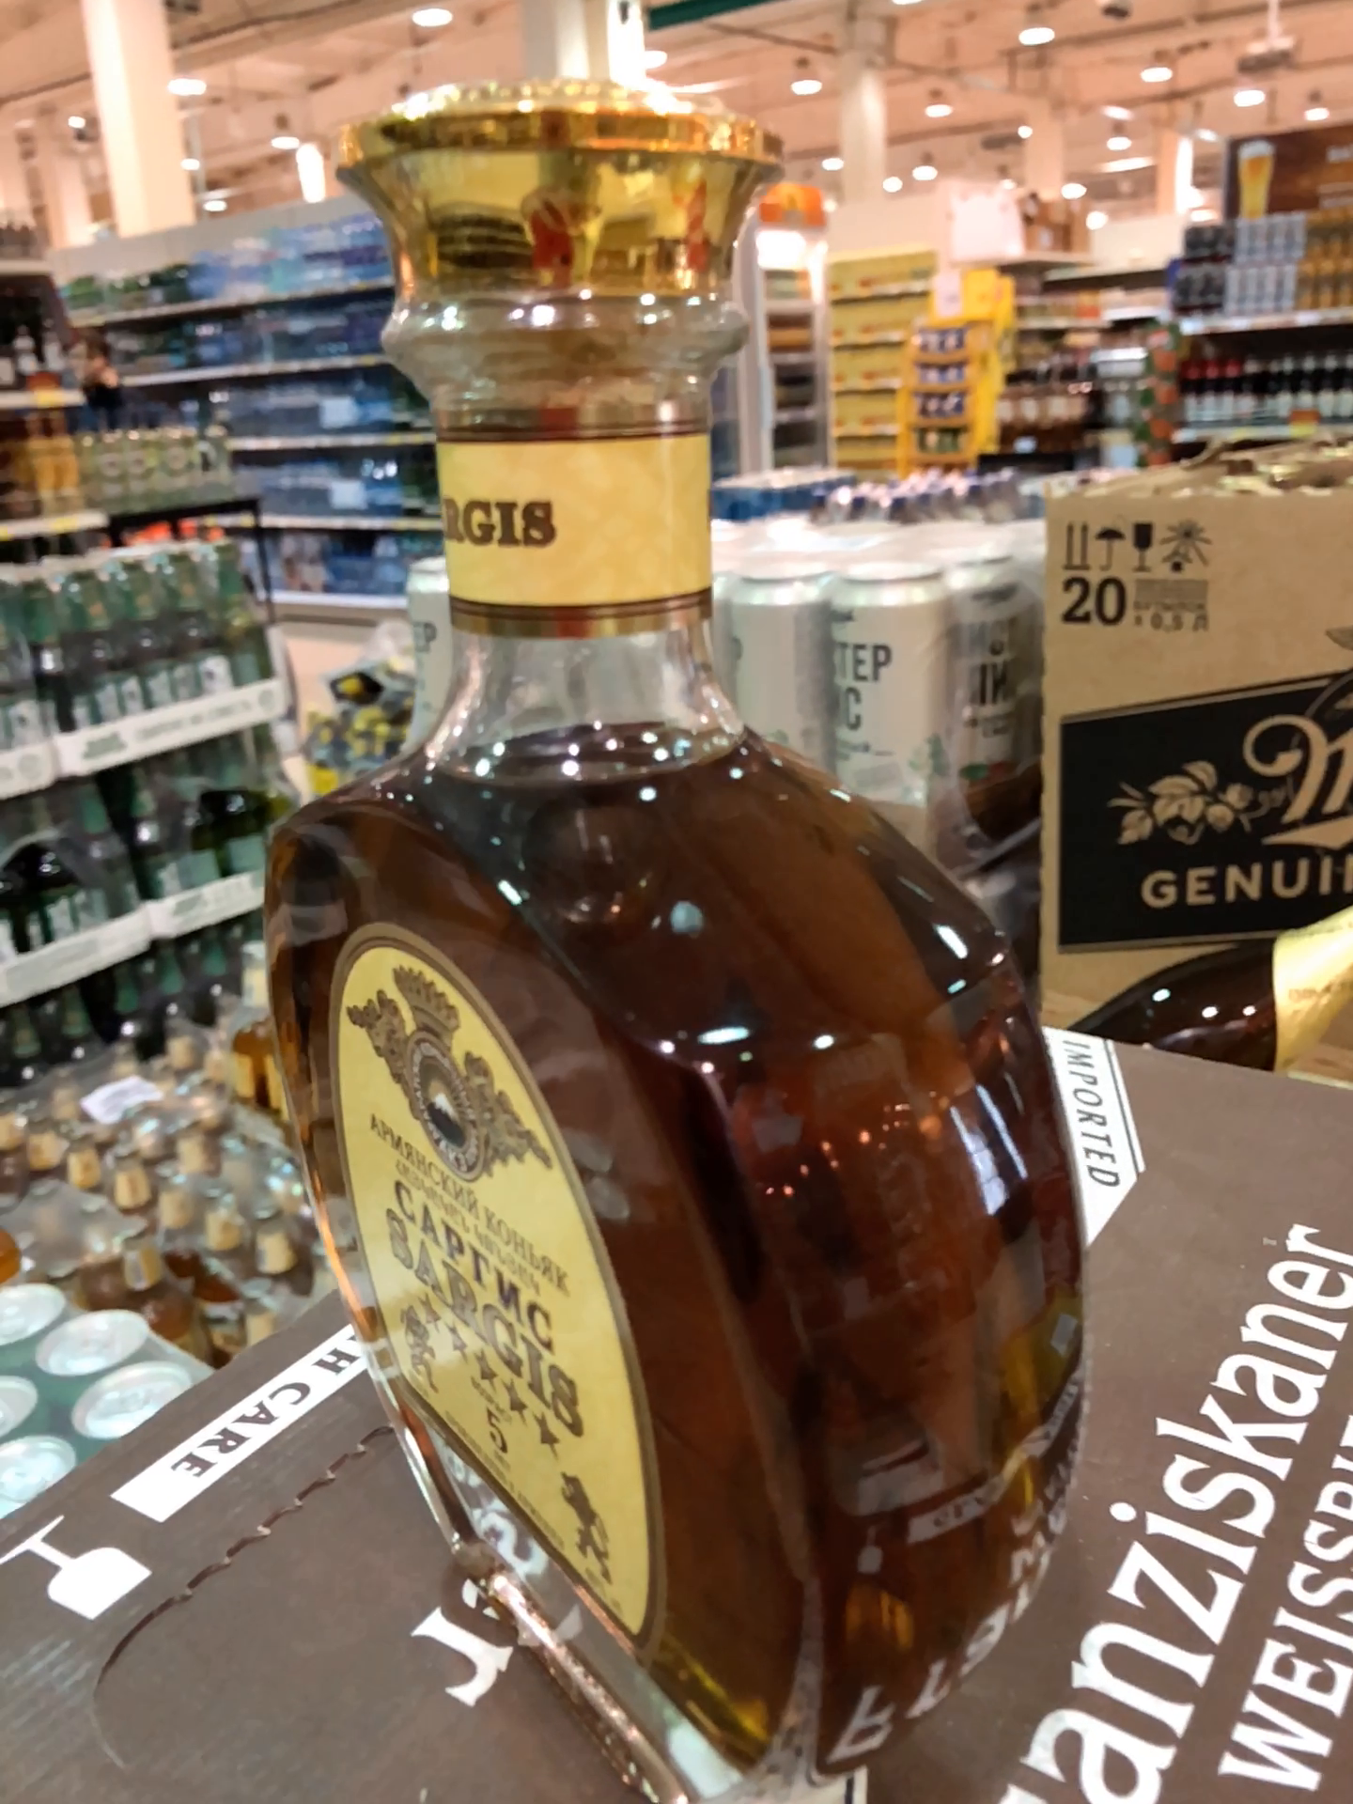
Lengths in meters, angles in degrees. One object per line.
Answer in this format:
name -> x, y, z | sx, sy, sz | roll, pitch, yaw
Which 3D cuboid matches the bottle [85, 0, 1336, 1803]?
bottle -> -0.004, 0.015, 0.202 | 0.070, 0.209, 0.140 | -17, 23, -34
